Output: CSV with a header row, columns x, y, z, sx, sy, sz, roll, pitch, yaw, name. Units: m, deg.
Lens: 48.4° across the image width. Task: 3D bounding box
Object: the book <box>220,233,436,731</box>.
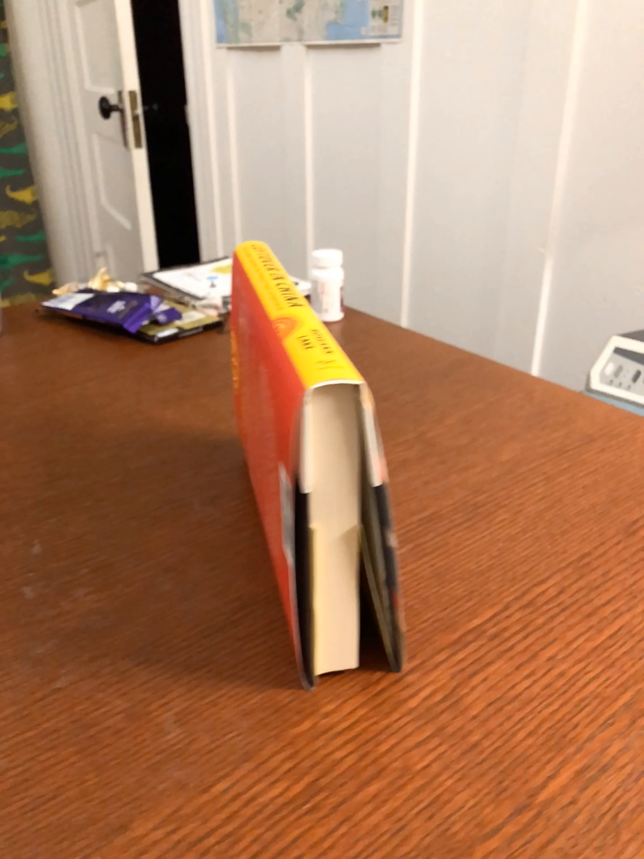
x,y,z,sx,sy,sz,roll,pitch,yaw,name
-0.013,0.003,0.423,0.060,0.179,0.261,-6,27,-11,book
